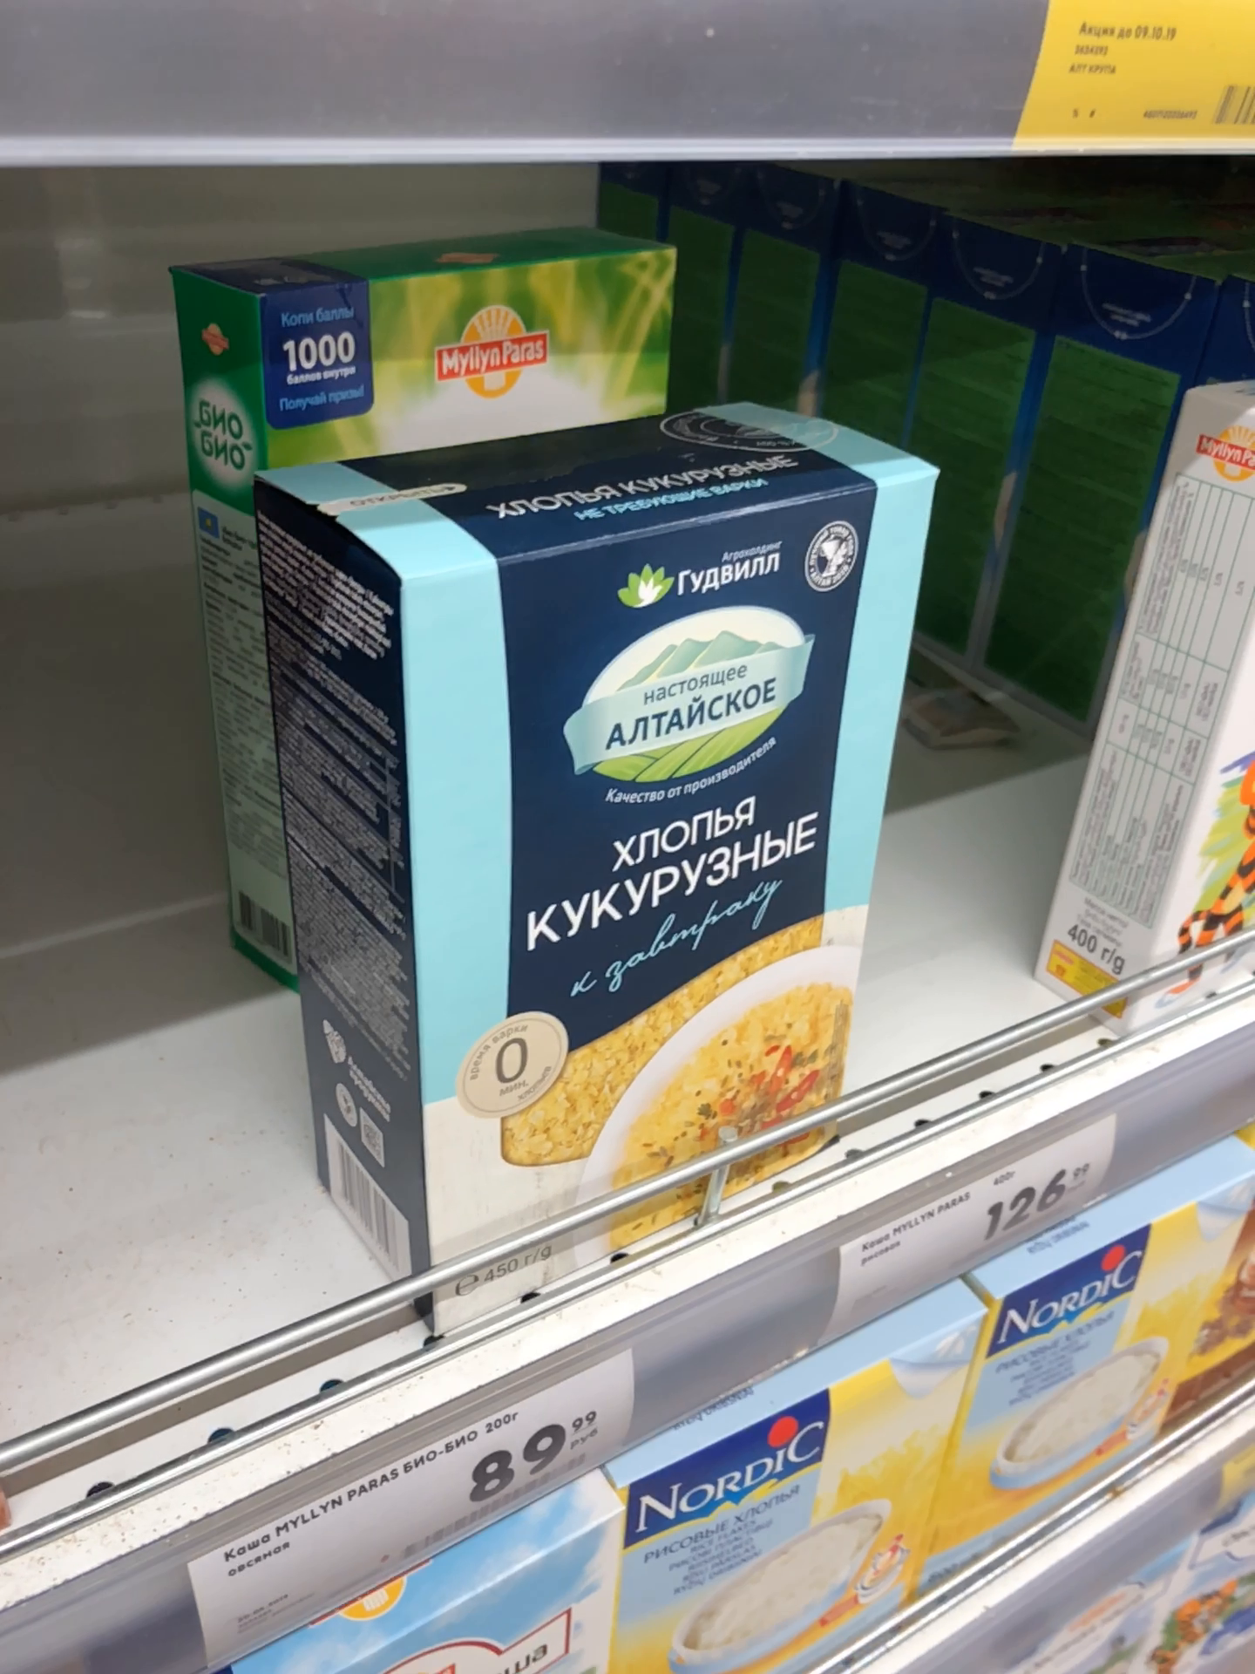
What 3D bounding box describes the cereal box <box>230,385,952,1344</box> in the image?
[{"bbox_3d":[-0.009,0.005,0.323,0.130,0.189,0.060,-17,37,-30],"label":"cereal box"}]
